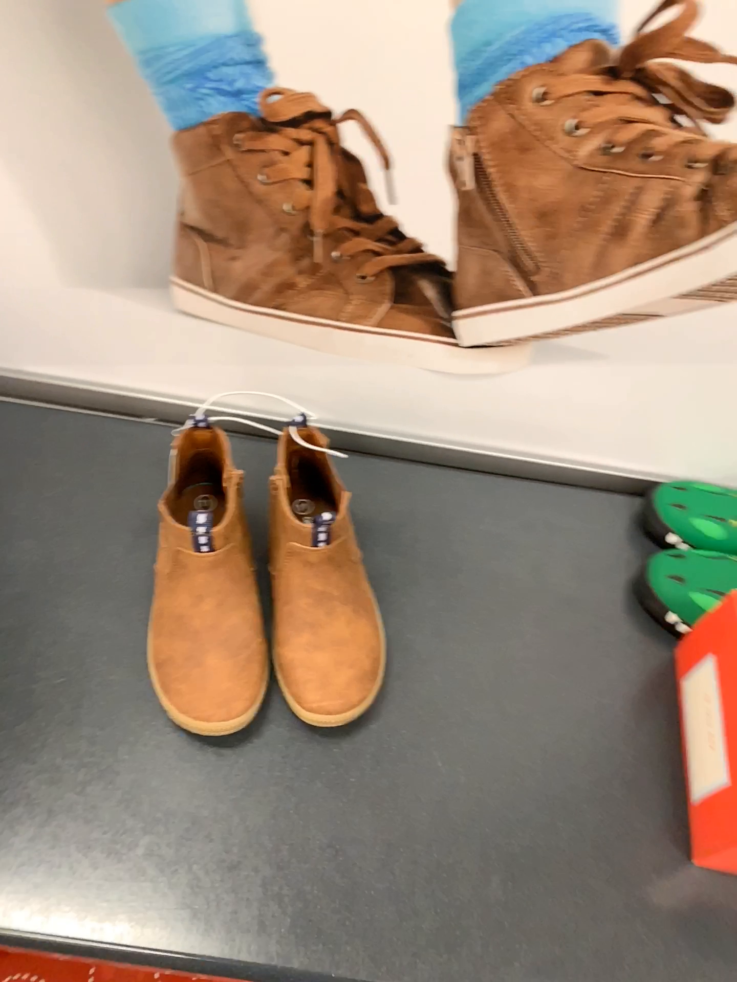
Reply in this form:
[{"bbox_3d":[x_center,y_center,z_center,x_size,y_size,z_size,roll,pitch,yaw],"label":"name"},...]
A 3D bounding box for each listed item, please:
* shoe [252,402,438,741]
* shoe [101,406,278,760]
[{"bbox_3d":[-0.026,0.046,0.494,0.086,0.100,0.191,-3,52,-11],"label":"shoe"},{"bbox_3d":[-0.109,0.051,0.474,0.086,0.100,0.191,-3,52,-11],"label":"shoe"}]
